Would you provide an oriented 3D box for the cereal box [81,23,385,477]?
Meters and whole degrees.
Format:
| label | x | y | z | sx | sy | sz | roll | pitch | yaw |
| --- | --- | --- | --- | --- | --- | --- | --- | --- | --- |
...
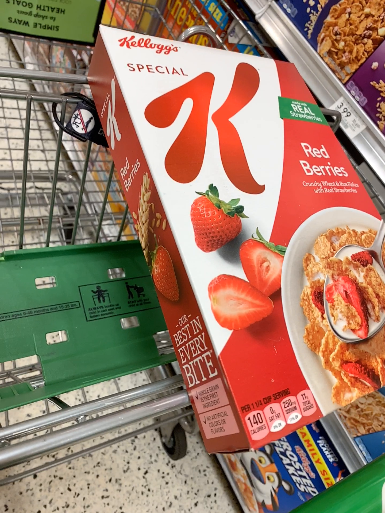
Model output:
| label | x | y | z | sx | sy | sz | roll | pitch | yaw |
| --- | --- | --- | --- | --- | --- | --- | --- | --- | --- |
| cereal box | 0.056 | -0.031 | 0.291 | 0.201 | 0.050 | 0.281 | -7 | 66 | -32 |
